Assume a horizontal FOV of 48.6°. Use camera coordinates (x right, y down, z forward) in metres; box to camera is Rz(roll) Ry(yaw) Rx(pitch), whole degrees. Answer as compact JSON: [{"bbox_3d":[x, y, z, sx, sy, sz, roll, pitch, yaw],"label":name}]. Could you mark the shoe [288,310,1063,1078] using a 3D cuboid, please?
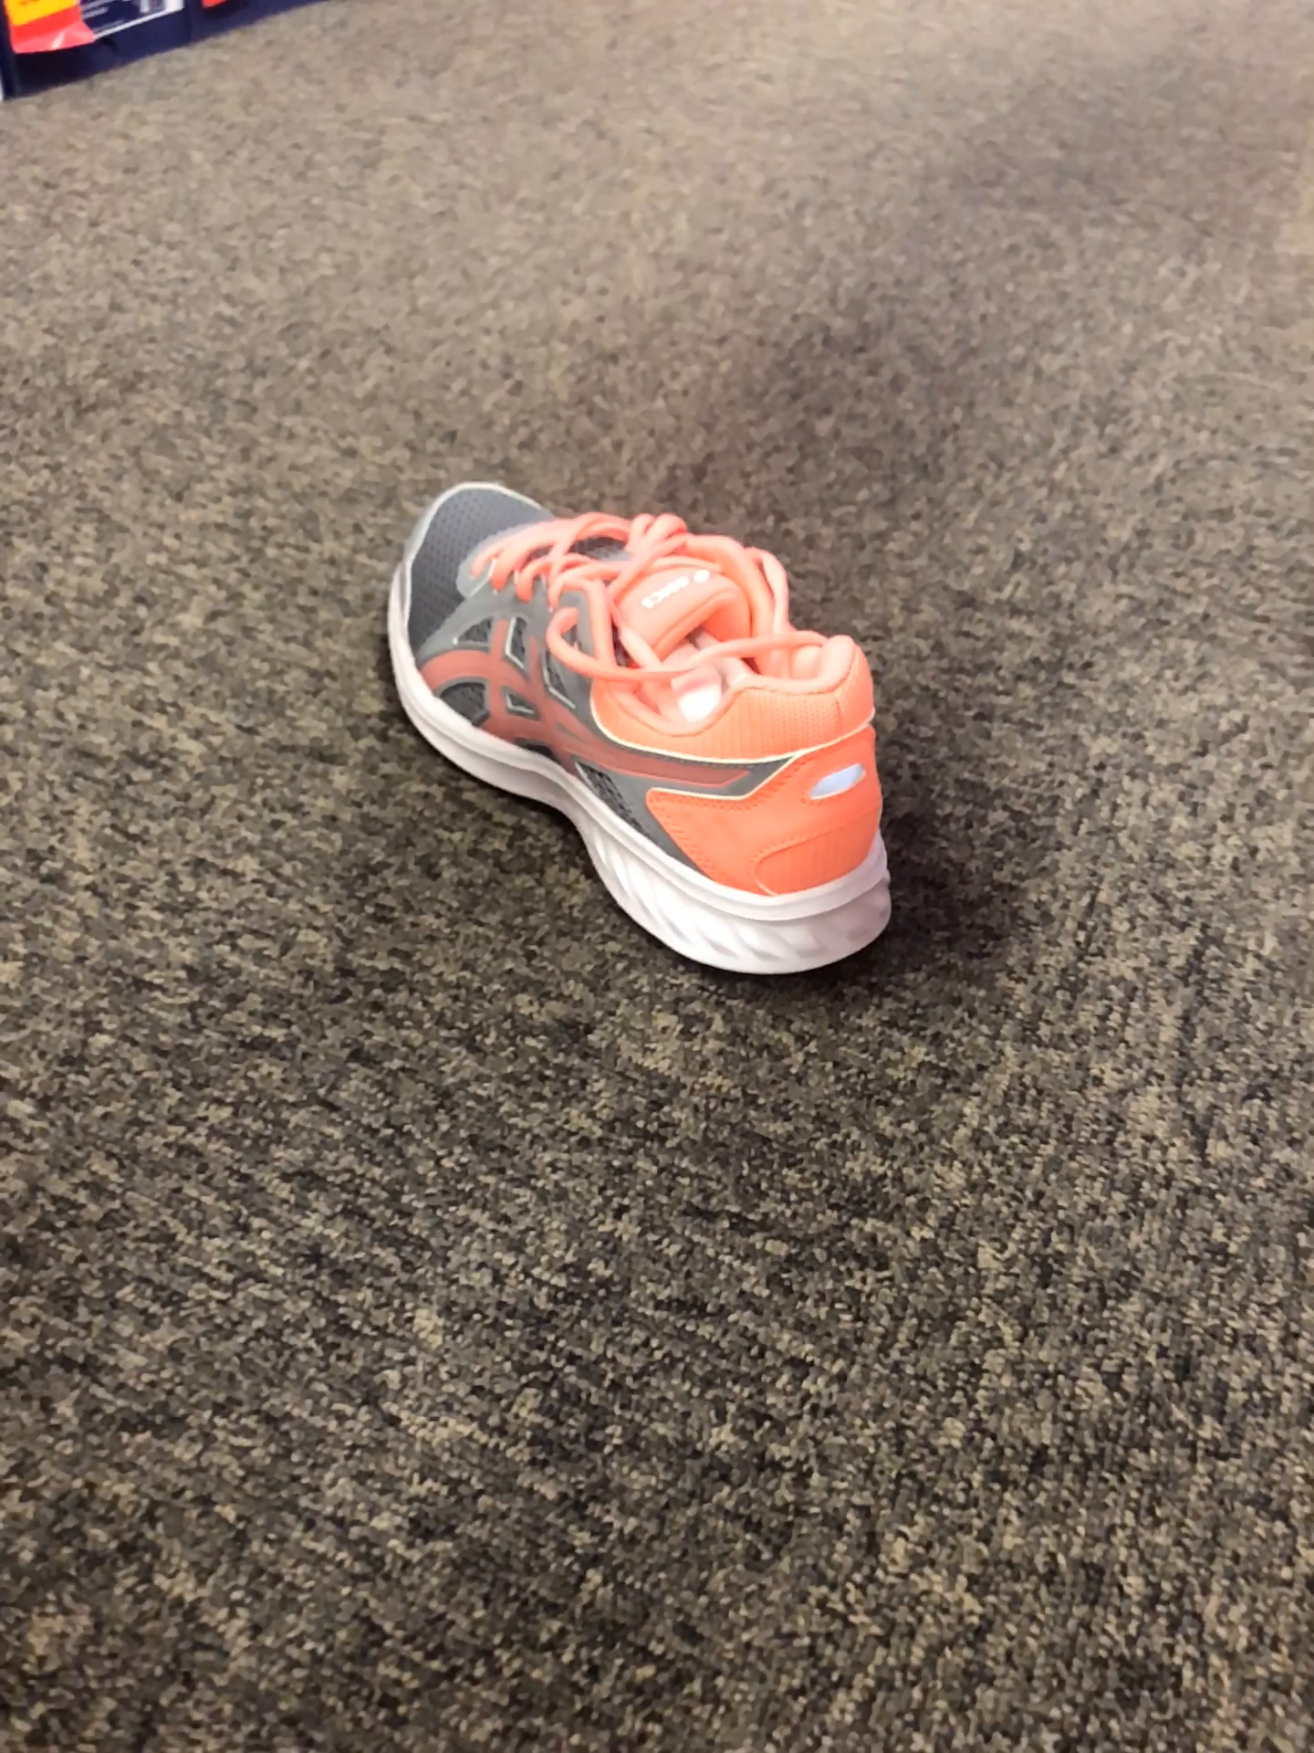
[{"bbox_3d":[-0.010,-0.076,0.475,0.111,0.109,0.251,-23,49,-26],"label":"shoe"}]
